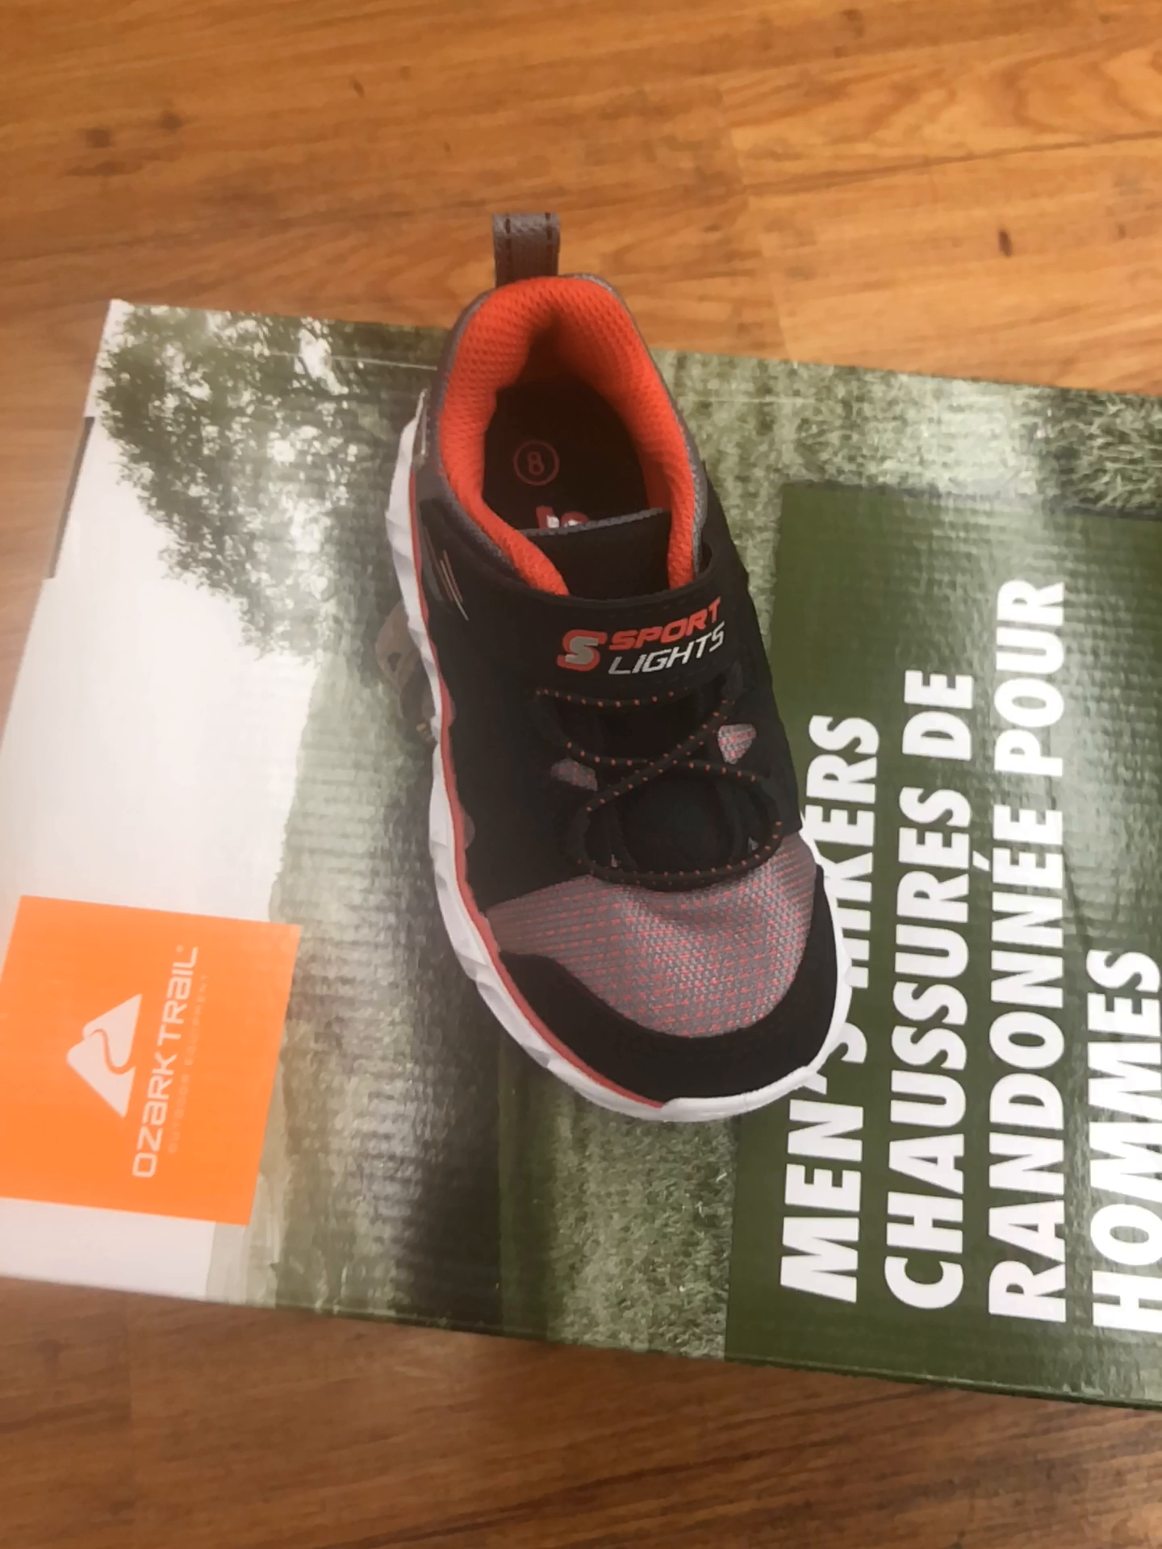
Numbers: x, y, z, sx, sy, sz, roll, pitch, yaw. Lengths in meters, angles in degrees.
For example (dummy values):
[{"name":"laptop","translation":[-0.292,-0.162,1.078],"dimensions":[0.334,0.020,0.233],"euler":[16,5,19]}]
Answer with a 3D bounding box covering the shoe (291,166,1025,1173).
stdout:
[{"name":"shoe","translation":[0.007,-0.016,0.265],"dimensions":[0.090,0.090,0.170],"euler":[-11,73,-4]}]
